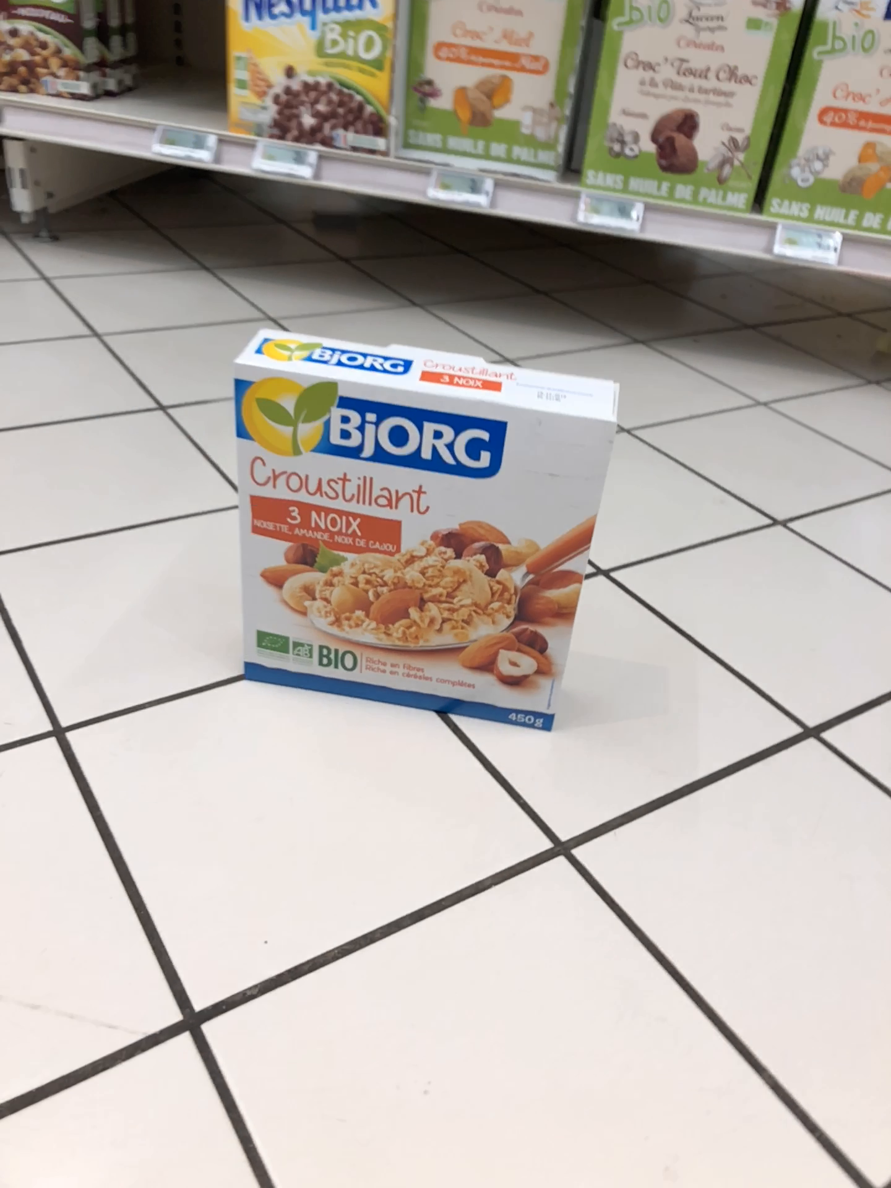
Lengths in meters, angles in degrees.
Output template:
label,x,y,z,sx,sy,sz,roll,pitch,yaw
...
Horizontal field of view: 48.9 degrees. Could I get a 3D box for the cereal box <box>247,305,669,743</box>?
label,x,y,z,sx,sy,sz,roll,pitch,yaw
cereal box,0.001,-0.035,0.570,0.210,0.219,0.060,11,37,9
